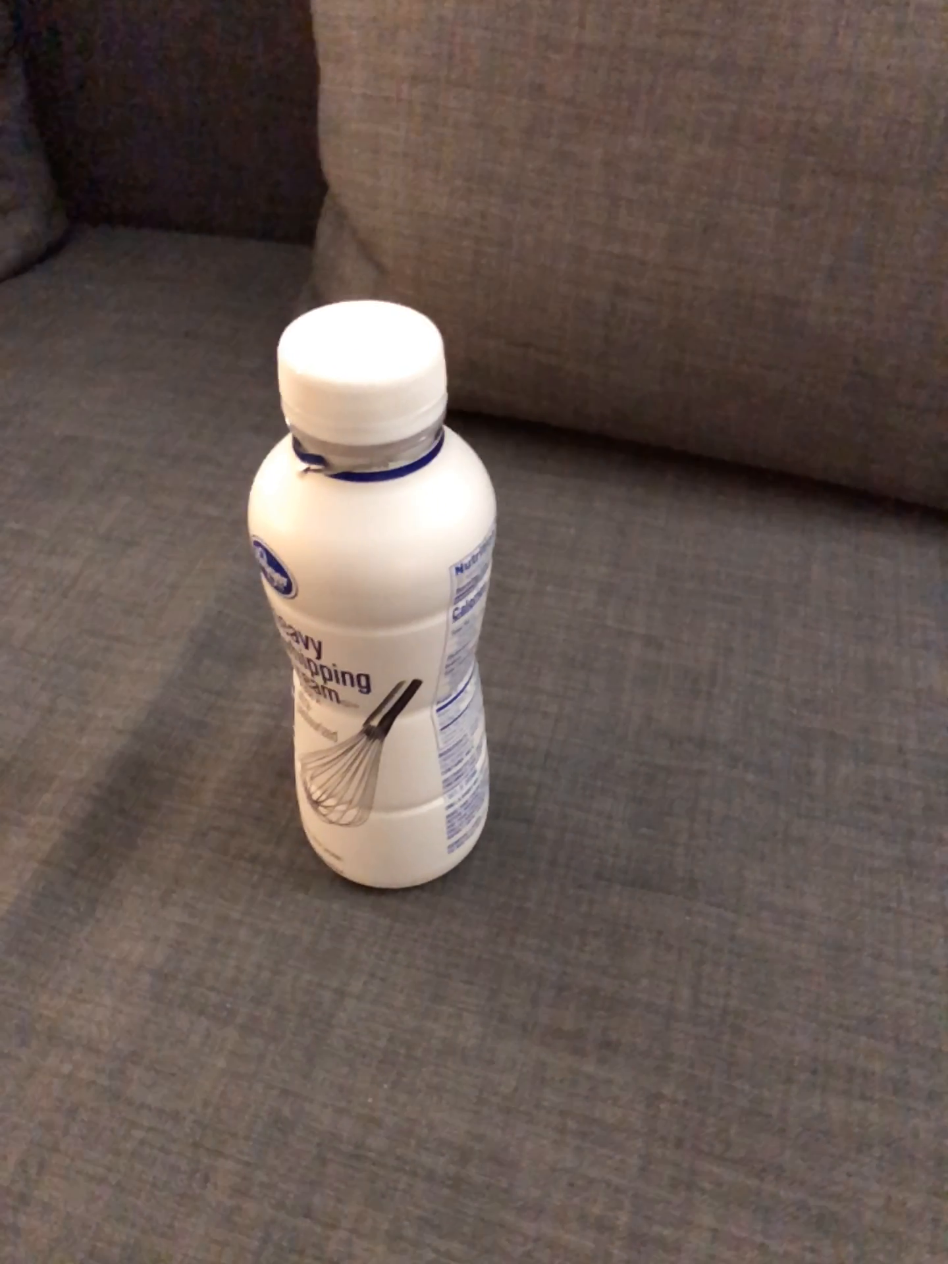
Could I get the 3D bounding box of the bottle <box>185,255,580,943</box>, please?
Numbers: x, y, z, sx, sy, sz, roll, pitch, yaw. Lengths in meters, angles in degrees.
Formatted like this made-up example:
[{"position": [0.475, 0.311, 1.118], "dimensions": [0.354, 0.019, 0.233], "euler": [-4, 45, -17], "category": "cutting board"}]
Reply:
[{"position": [-0.022, 0.000, 0.316], "dimensions": [0.070, 0.189, 0.070], "euler": [-1, 43, 1], "category": "bottle"}]
